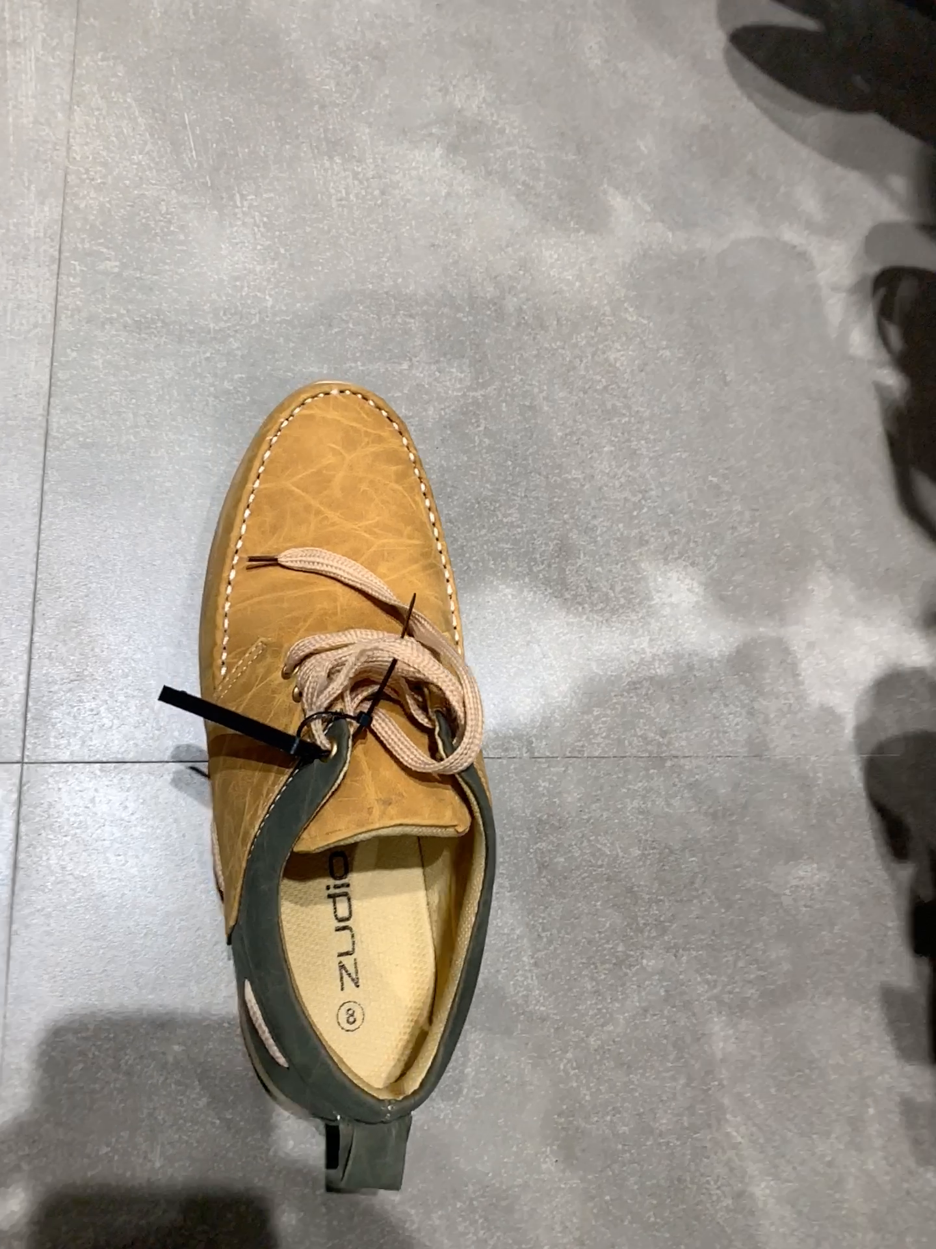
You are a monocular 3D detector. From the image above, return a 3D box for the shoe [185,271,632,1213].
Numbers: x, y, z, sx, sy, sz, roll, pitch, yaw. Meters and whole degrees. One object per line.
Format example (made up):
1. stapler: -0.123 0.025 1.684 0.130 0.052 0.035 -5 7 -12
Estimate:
1. shoe: -0.038 0.032 0.340 0.111 0.117 0.267 0 73 -20
